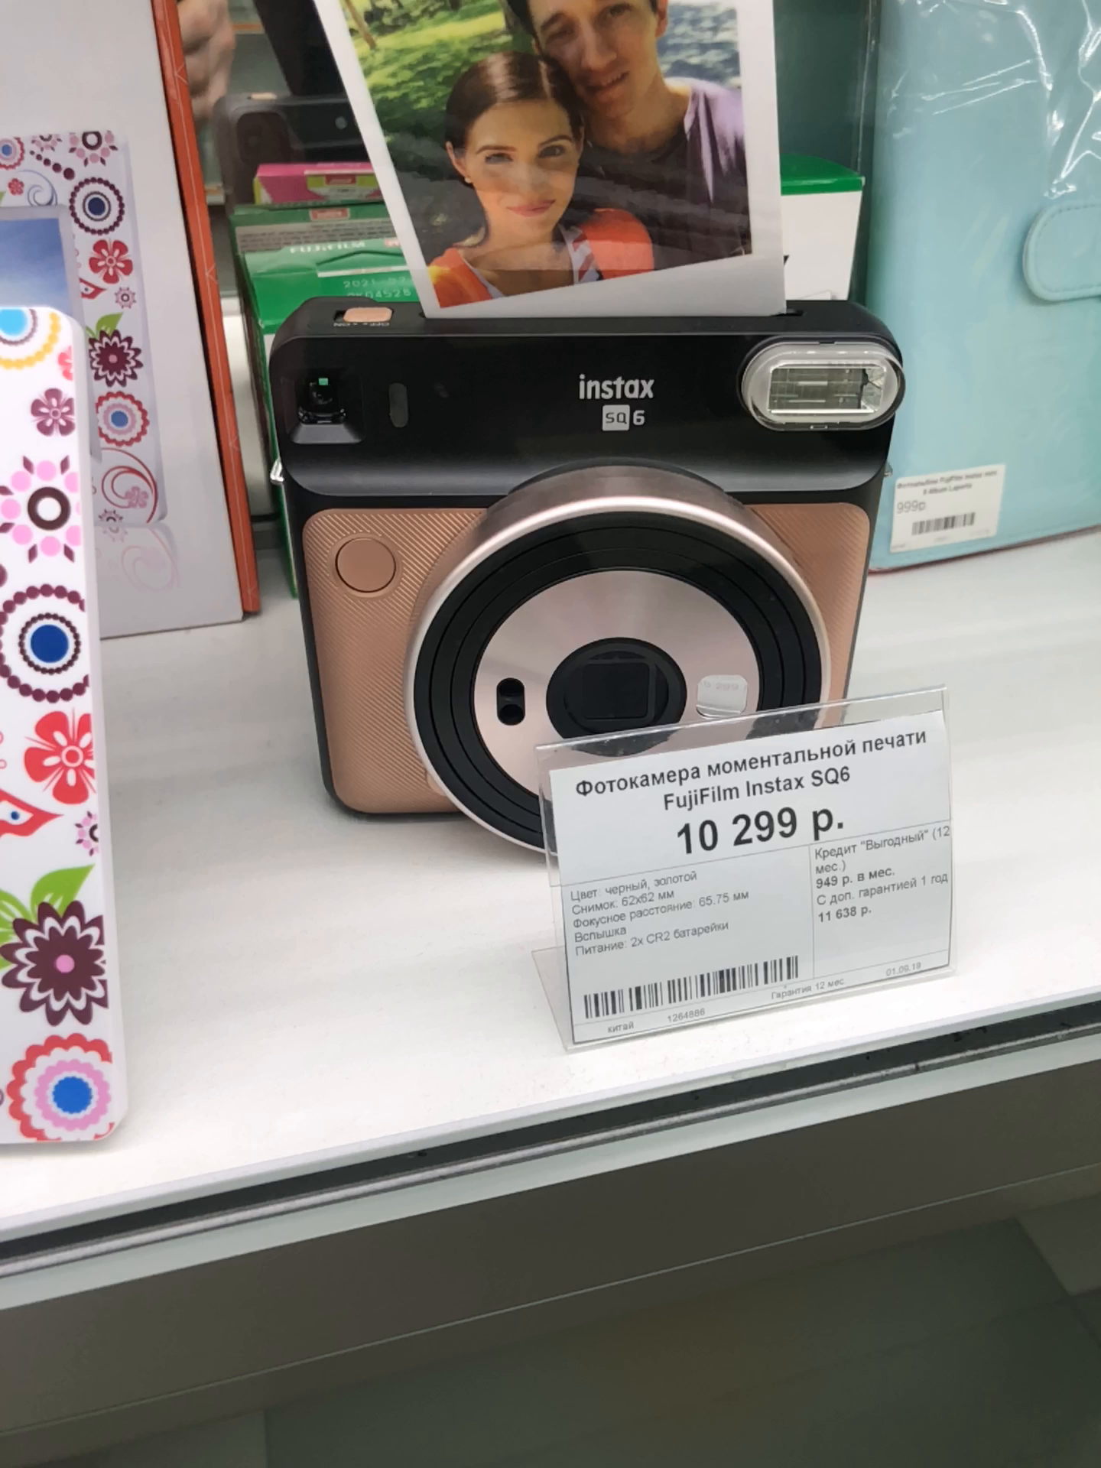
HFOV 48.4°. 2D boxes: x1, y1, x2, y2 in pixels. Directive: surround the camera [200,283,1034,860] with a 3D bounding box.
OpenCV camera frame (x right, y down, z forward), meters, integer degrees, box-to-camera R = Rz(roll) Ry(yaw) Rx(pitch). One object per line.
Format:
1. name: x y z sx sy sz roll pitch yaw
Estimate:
1. camera: 0.011 -0.034 0.259 0.140 0.104 0.060 -1 34 -2
